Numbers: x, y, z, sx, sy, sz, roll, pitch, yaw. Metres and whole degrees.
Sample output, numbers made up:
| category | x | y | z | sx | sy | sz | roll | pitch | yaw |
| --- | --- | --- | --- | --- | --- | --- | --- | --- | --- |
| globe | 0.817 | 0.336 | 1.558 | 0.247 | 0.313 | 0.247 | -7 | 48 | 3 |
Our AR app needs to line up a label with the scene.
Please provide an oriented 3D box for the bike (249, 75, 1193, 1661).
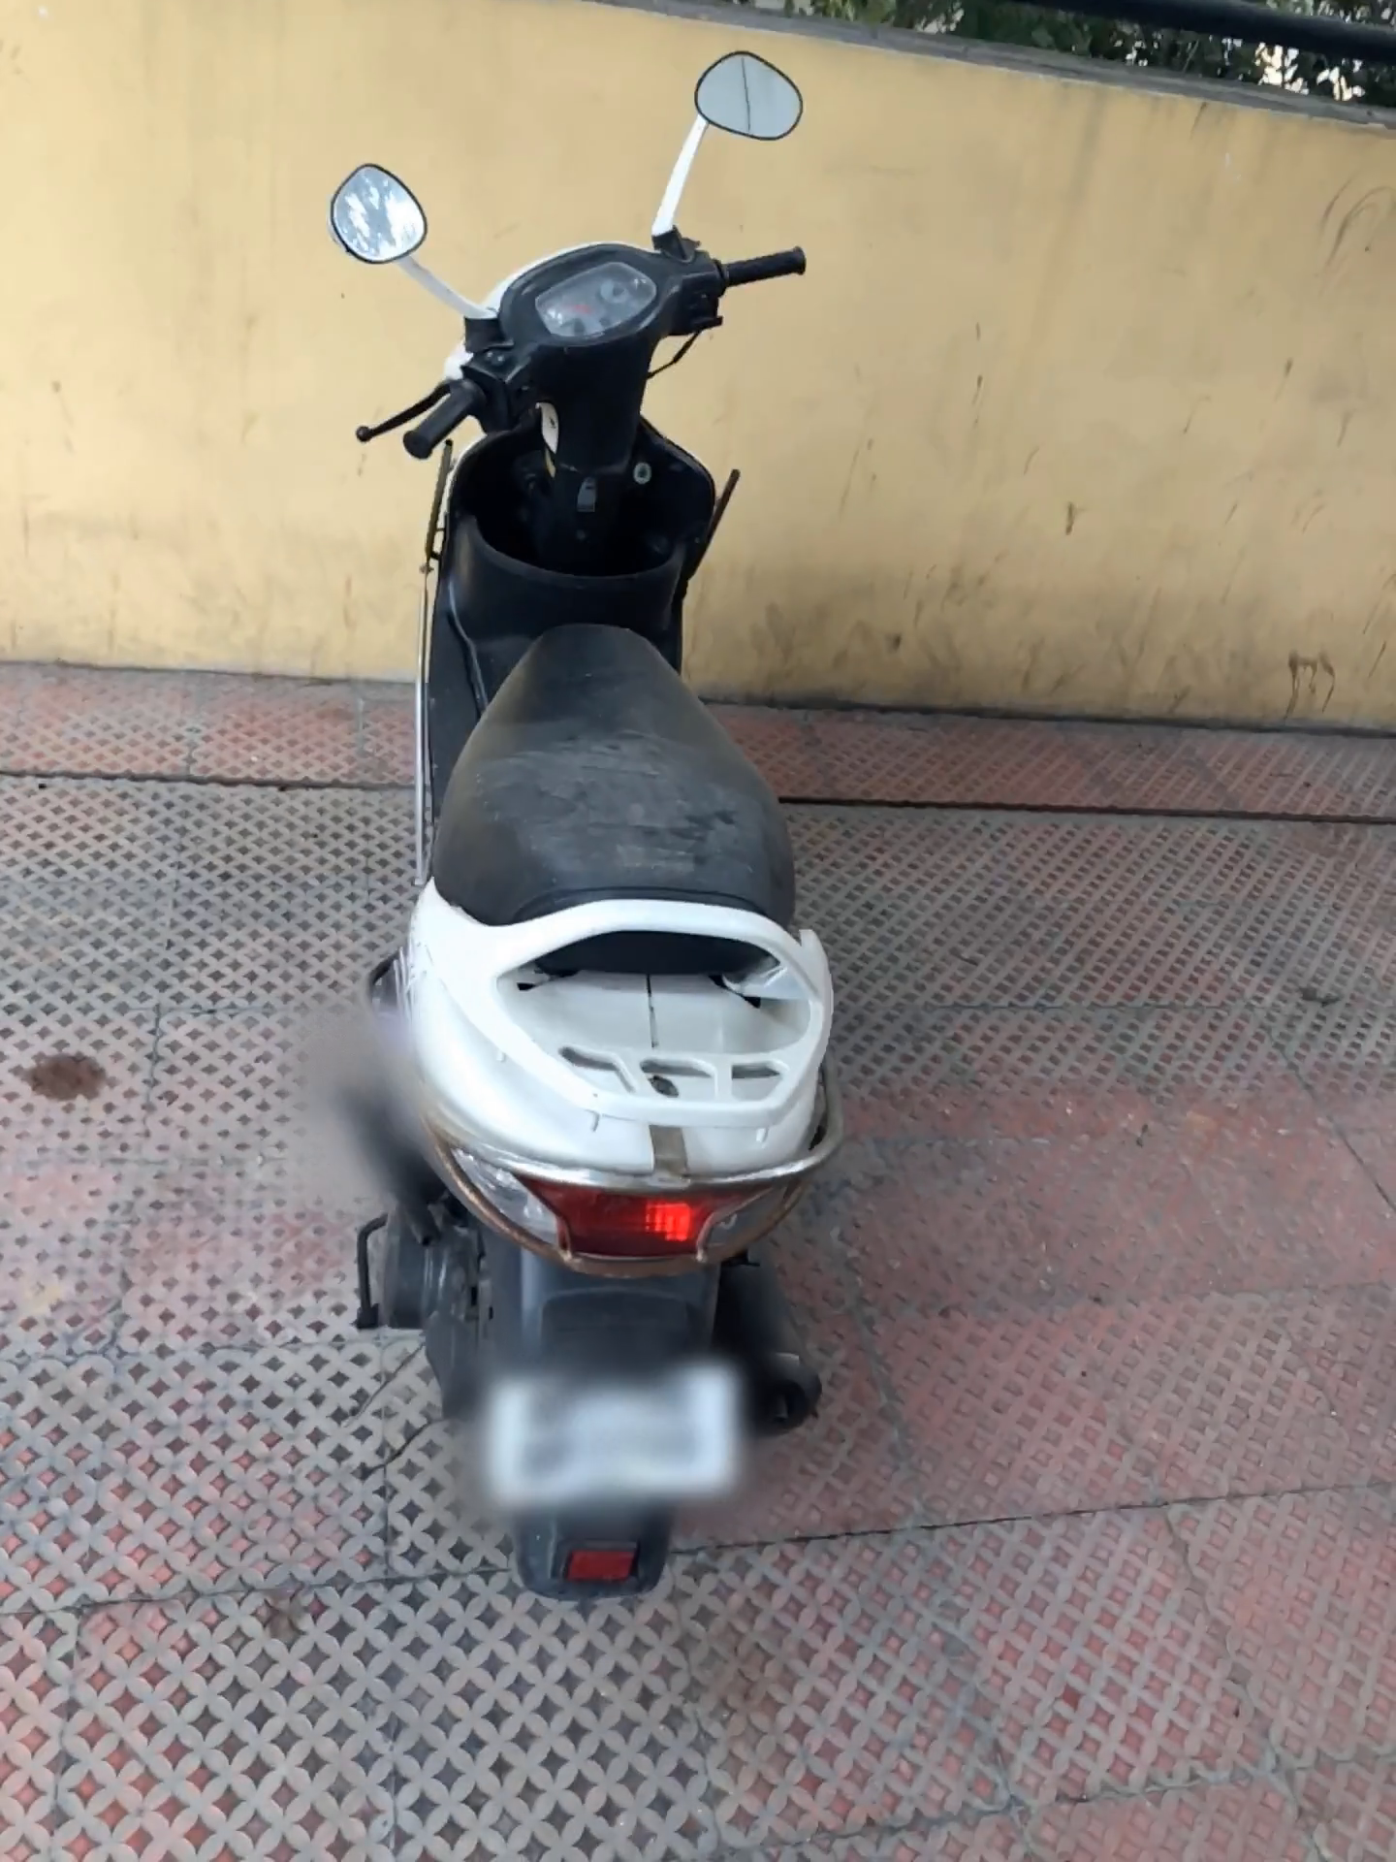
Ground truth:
| category | x | y | z | sx | sy | sz | roll | pitch | yaw |
| --- | --- | --- | --- | --- | --- | --- | --- | --- | --- |
| bike | -0.169 | -0.174 | 1.814 | 0.599 | 1.080 | 1.481 | 1 | 40 | -13 |
